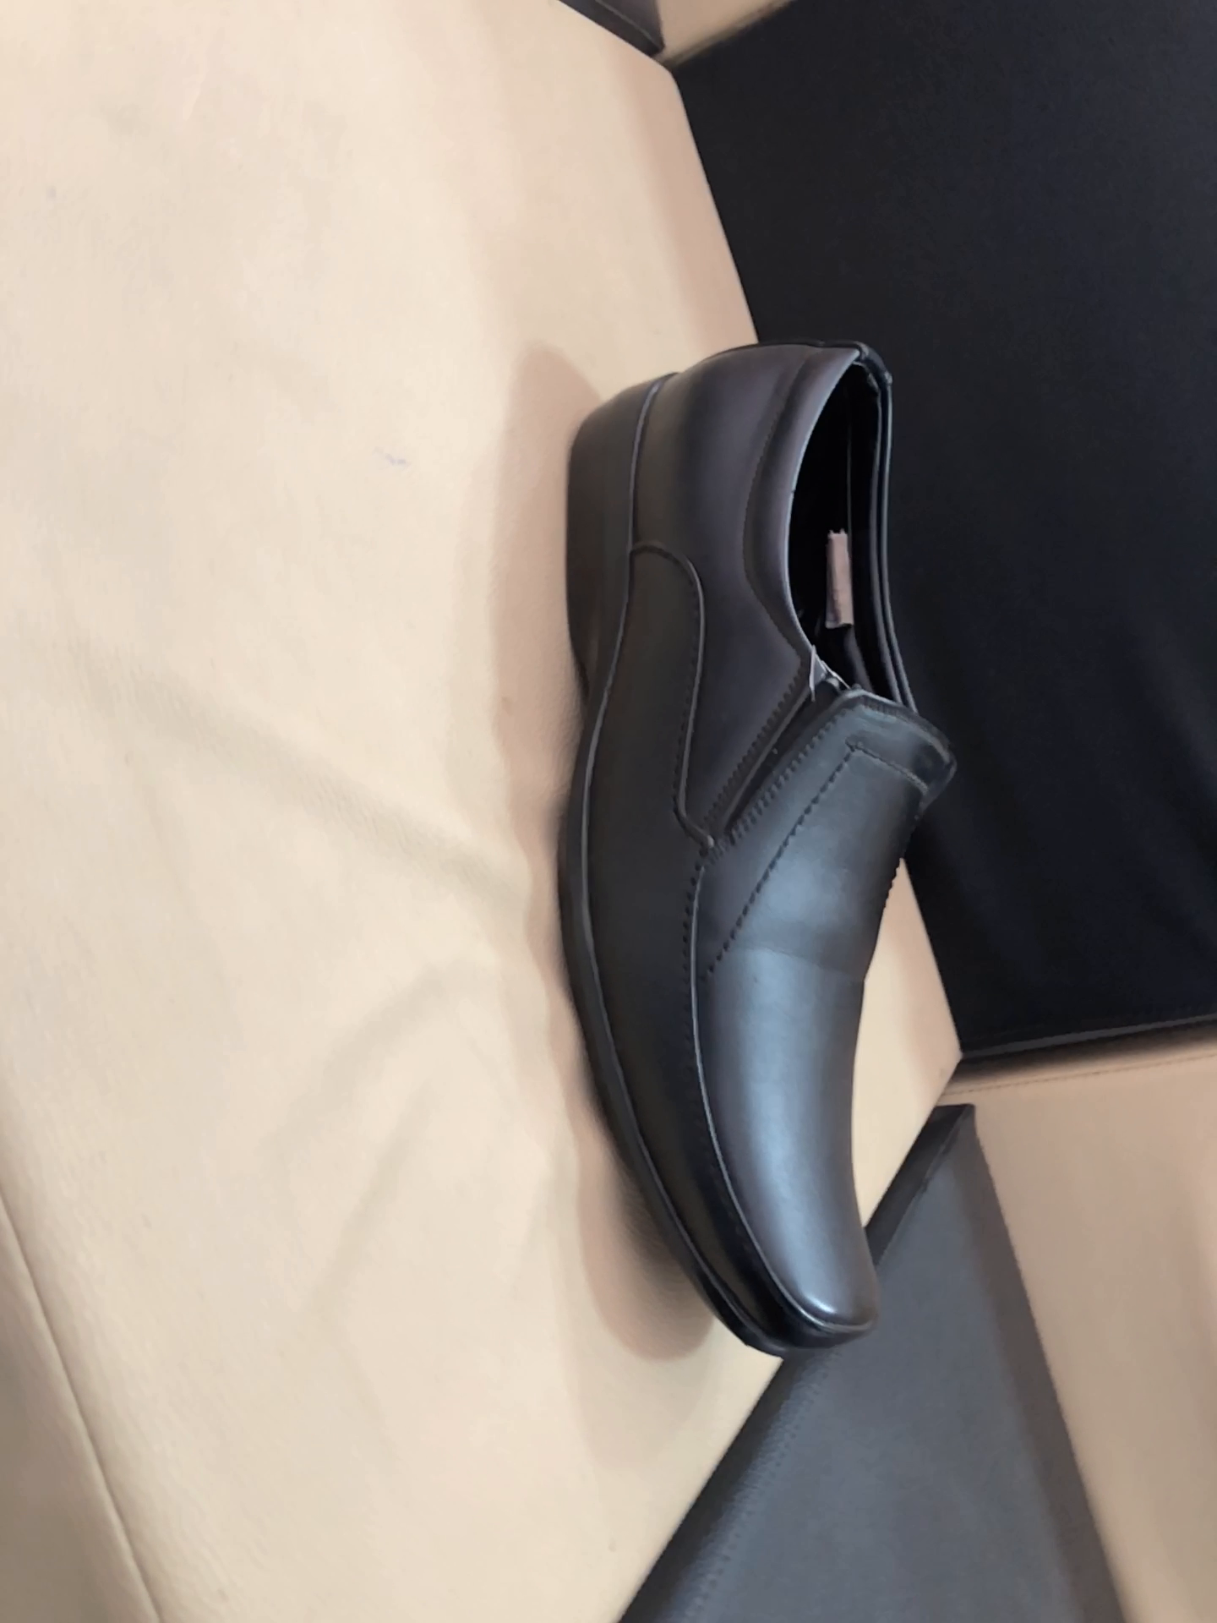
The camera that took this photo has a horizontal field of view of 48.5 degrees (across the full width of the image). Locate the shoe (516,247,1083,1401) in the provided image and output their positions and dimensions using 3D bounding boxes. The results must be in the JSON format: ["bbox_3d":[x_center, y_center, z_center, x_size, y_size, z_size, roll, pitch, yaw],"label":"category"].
[{"bbox_3d":[0.049,0.006,0.388,0.101,0.099,0.290,25,57,-55],"label":"shoe"}]
